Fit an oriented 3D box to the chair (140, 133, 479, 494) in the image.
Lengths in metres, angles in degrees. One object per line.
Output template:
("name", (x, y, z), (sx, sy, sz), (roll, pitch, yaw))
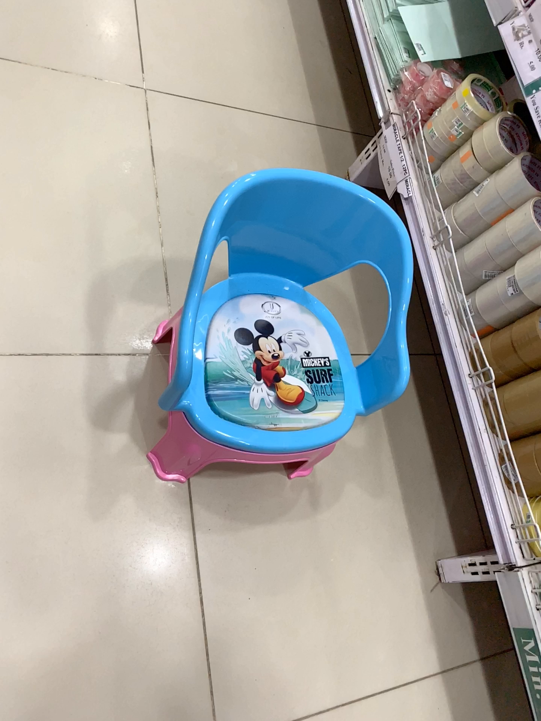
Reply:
("chair", (0.018, -0.030, 0.814), (0.351, 0.319, 0.390), (4, 68, -24))
